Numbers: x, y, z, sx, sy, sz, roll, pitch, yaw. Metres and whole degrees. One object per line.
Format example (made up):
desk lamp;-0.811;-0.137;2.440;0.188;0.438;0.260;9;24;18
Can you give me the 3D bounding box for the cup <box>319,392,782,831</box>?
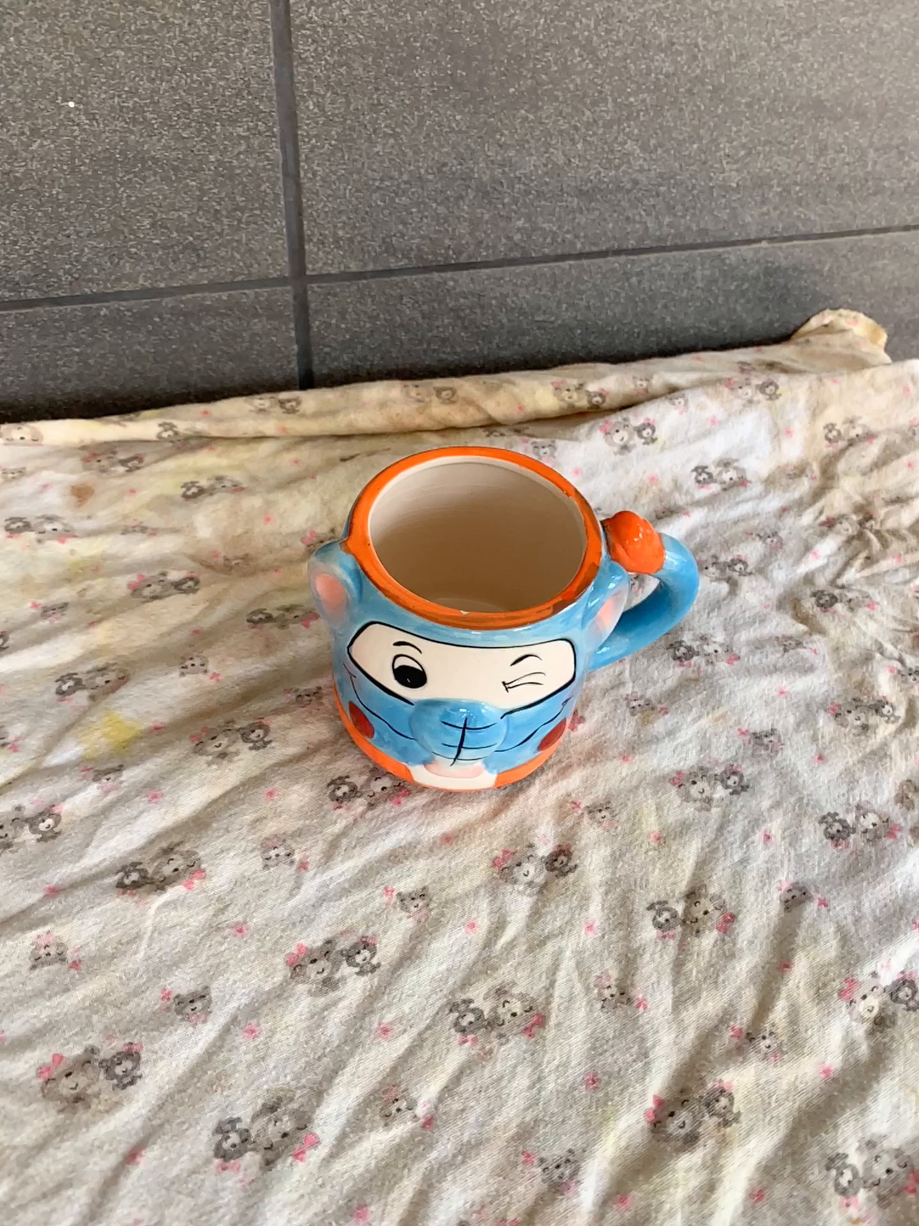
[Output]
cup;0.017;-0.001;0.294;0.110;0.090;0.090;-5;50;-9
